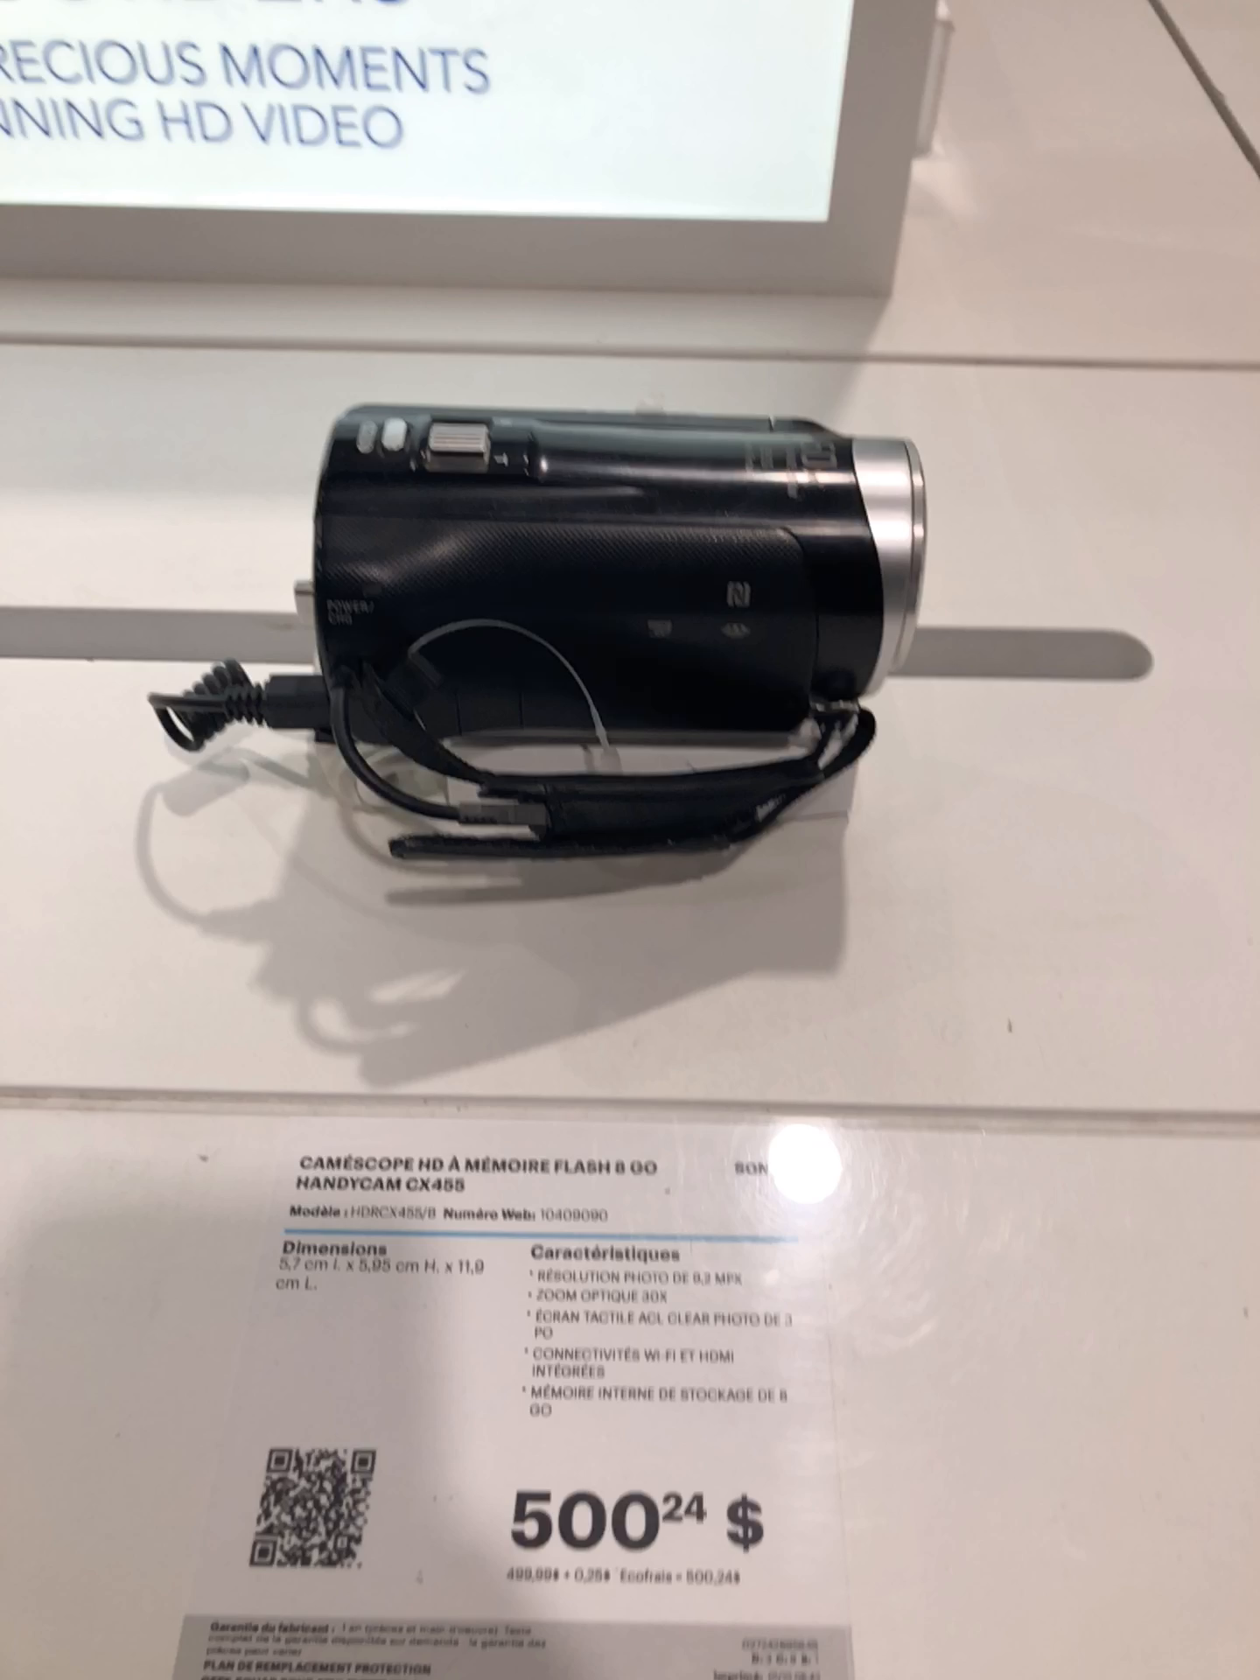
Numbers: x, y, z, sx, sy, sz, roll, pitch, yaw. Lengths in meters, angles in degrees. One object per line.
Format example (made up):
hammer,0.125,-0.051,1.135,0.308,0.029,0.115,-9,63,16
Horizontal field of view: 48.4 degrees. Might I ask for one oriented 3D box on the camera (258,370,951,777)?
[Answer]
camera,-0.005,-0.054,0.285,0.121,0.058,0.057,0,49,0
